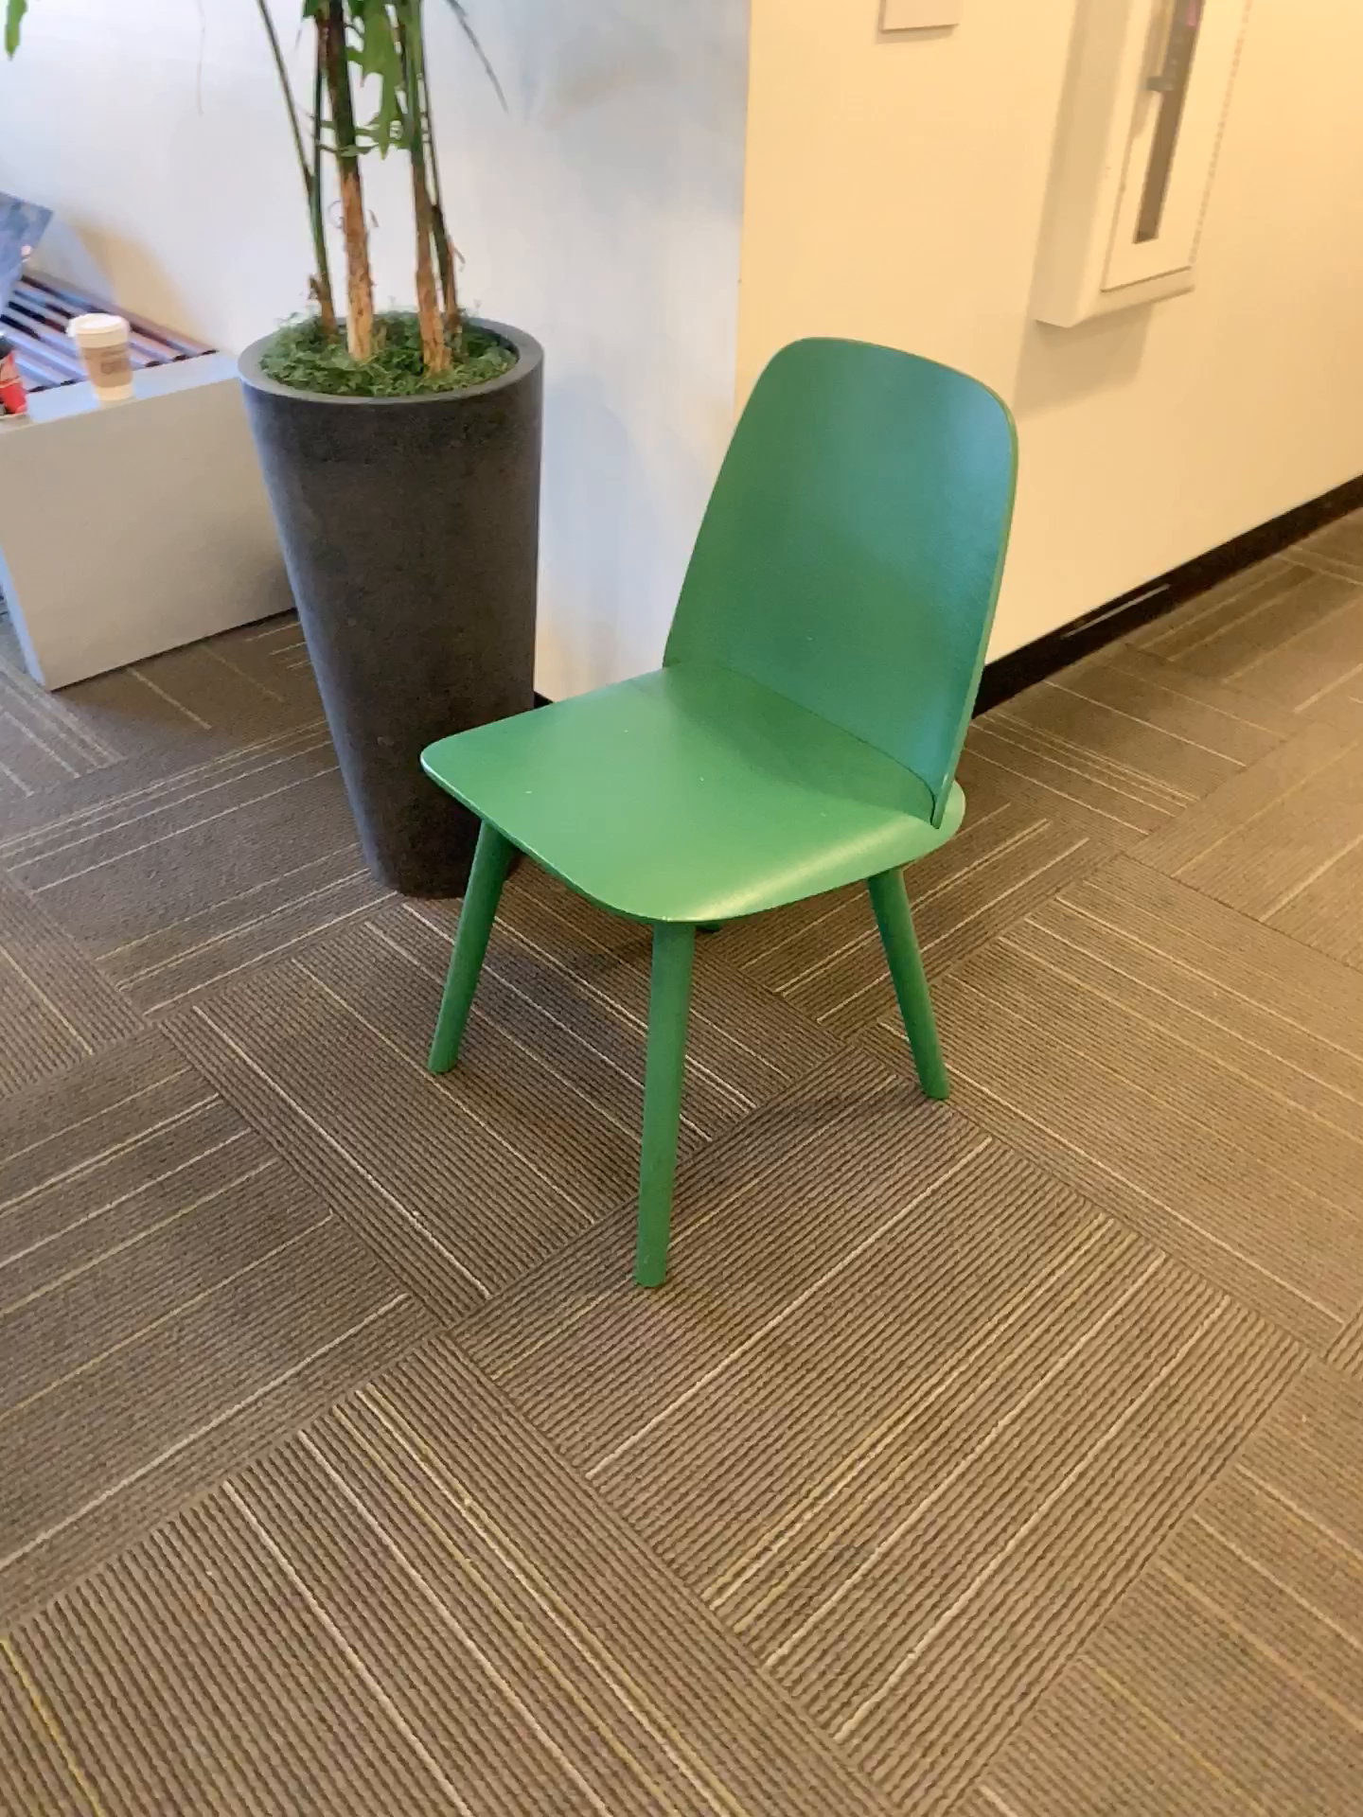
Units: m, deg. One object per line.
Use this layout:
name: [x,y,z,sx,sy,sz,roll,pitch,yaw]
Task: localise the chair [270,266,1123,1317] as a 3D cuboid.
chair: [0.001,-0.136,1.386,0.501,0.785,0.502,-28,45,-33]
